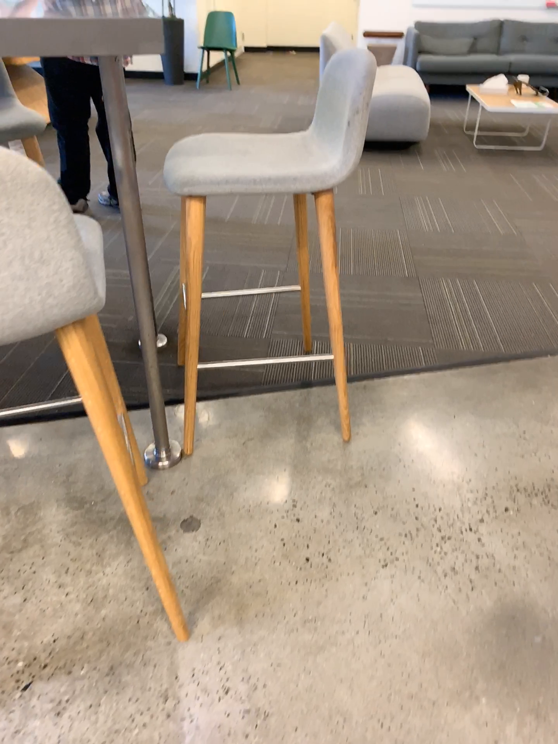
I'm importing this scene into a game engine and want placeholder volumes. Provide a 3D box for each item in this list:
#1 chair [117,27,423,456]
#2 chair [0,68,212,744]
[{"bbox_3d":[-0.071,-0.453,1.744,0.580,0.974,0.966,-3,34,-6],"label":"chair"},{"bbox_3d":[-0.466,0.034,0.975,0.550,0.914,0.573,-9,35,-15],"label":"chair"}]
